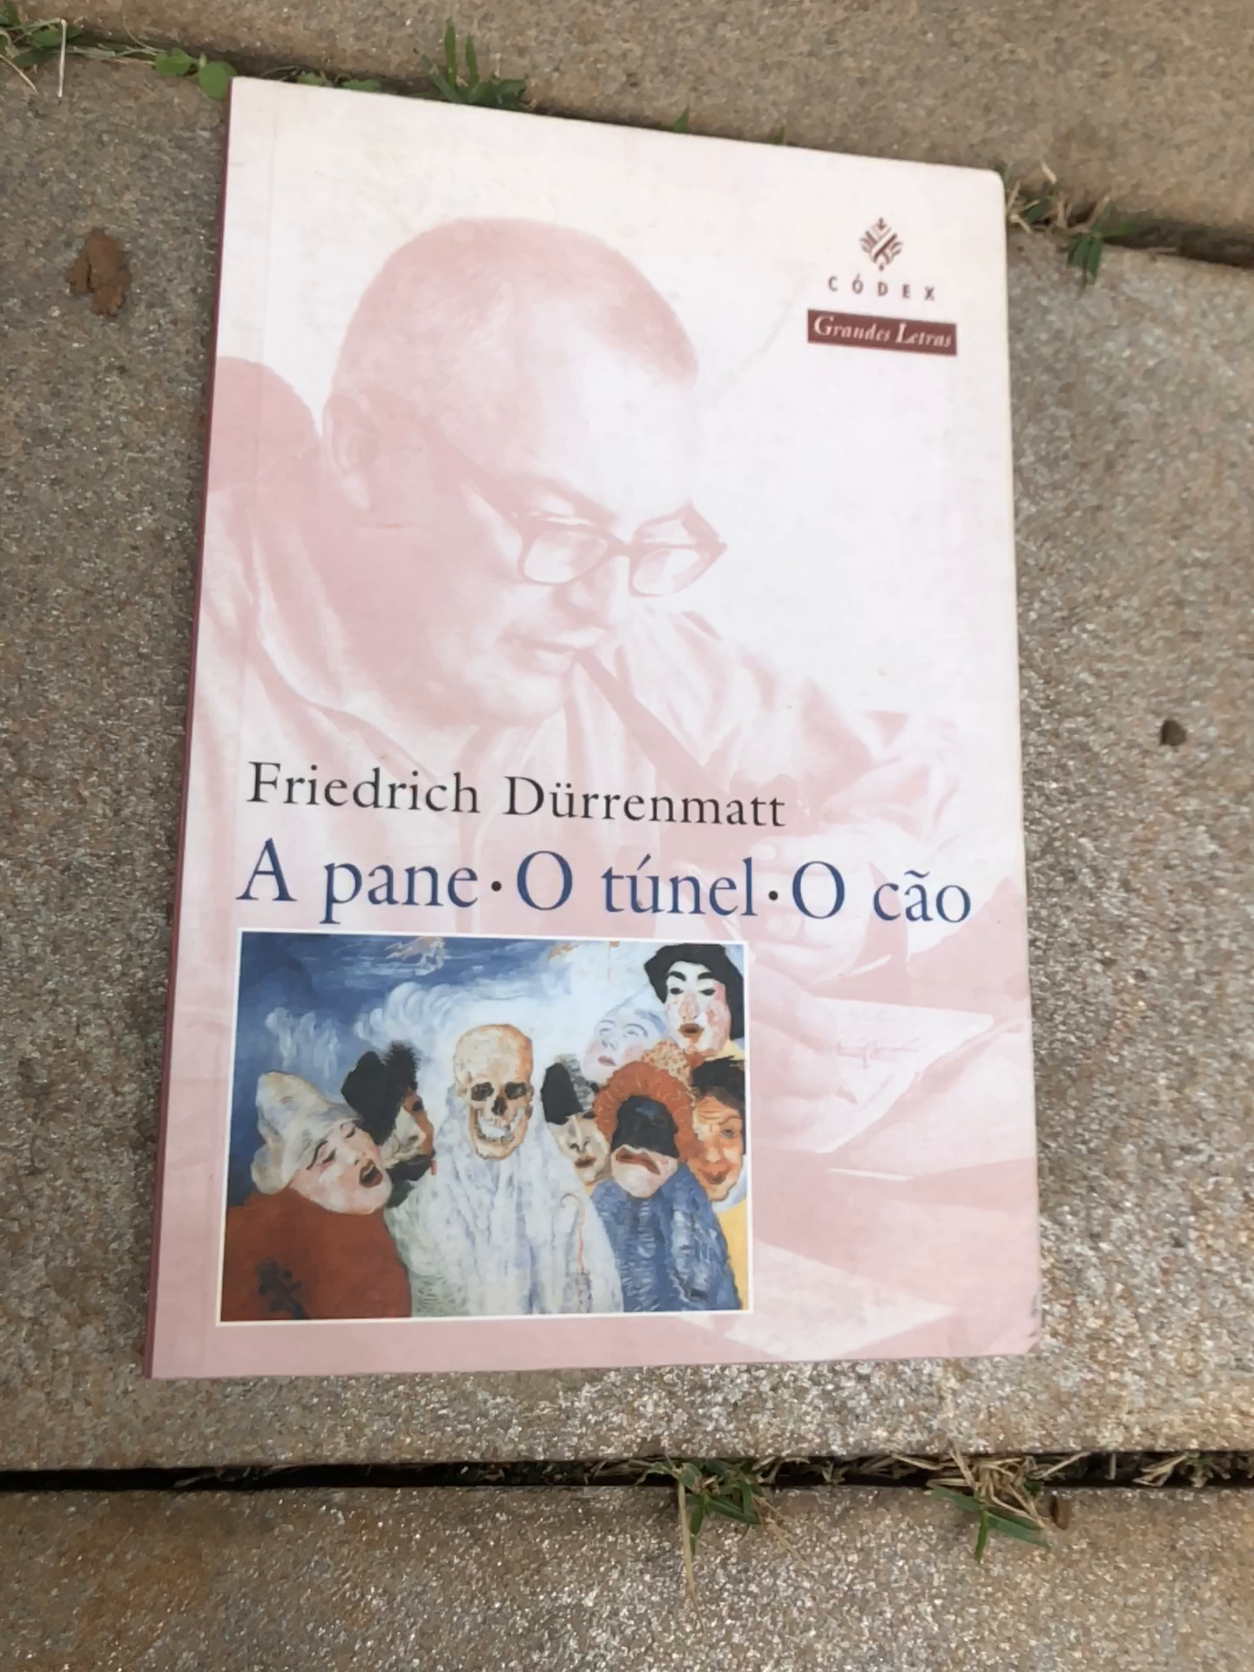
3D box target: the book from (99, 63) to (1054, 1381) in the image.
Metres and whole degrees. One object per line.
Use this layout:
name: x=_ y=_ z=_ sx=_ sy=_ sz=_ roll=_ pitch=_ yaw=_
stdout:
book: x=-0.003 y=-0.020 z=0.227 sx=0.140 sy=0.015 sz=0.199 roll=3 pitch=81 yaw=-11
